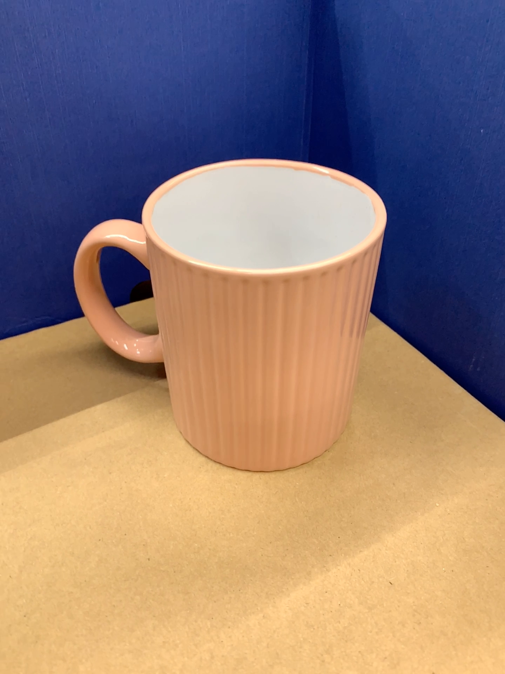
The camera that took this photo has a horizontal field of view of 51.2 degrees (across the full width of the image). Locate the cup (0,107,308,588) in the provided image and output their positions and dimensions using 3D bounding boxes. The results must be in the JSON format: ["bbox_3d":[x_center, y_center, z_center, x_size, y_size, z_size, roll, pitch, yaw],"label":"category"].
[{"bbox_3d":[-0.068,-0.009,0.201,0.154,0.128,0.102,8,30,13],"label":"cup"}]
